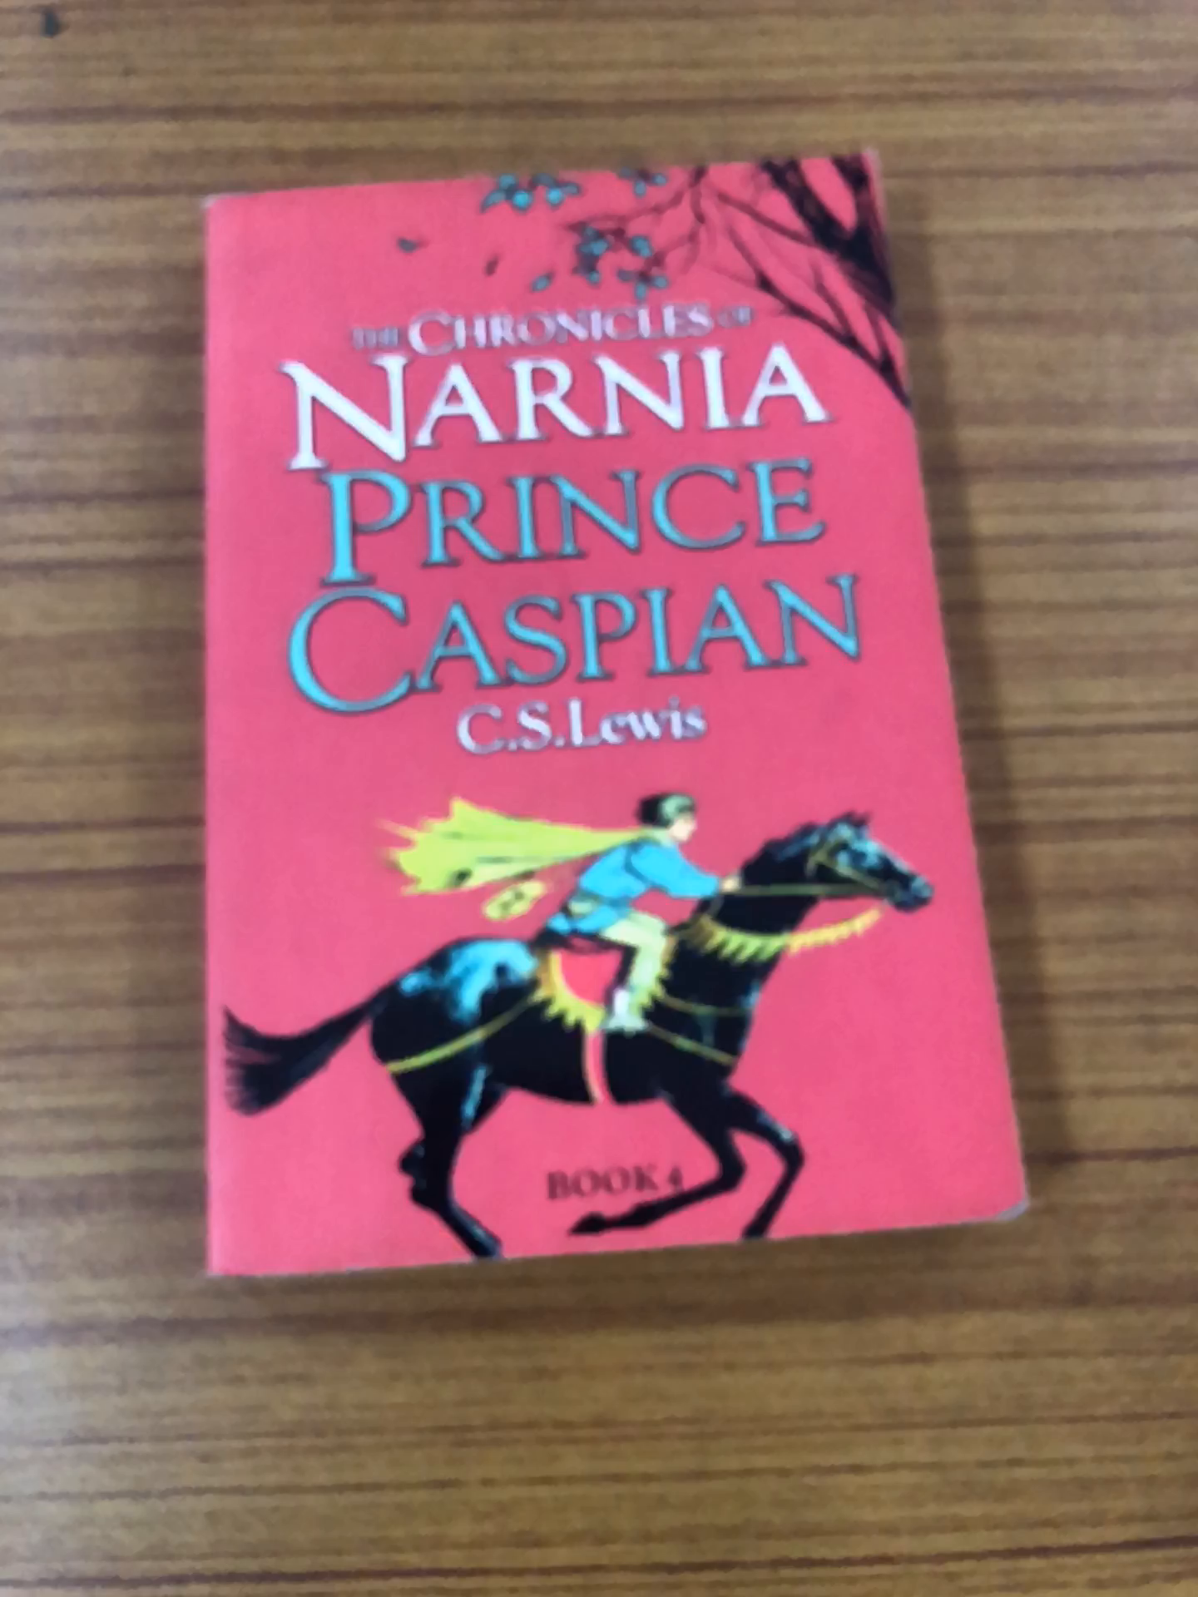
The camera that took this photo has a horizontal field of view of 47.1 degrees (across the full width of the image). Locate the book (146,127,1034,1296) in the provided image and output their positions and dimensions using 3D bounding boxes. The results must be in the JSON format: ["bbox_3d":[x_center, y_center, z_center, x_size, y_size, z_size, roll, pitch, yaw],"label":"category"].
[{"bbox_3d":[-0.007,-0.020,0.237,0.130,0.030,0.190,-3,77,-1],"label":"book"}]
